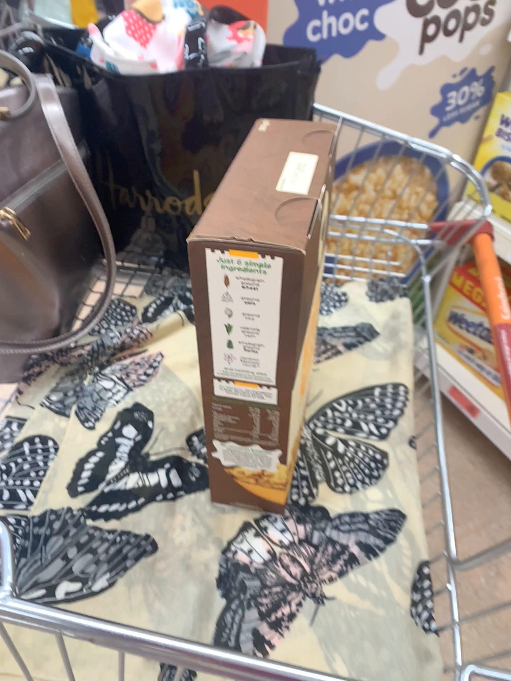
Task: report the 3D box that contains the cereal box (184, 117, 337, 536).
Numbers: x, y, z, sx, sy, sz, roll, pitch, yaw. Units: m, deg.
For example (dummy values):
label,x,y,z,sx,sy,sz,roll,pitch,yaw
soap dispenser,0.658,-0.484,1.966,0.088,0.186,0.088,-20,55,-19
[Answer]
label,x,y,z,sx,sy,sz,roll,pitch,yaw
cereal box,0.012,-0.006,0.460,0.070,0.297,0.202,8,41,8
